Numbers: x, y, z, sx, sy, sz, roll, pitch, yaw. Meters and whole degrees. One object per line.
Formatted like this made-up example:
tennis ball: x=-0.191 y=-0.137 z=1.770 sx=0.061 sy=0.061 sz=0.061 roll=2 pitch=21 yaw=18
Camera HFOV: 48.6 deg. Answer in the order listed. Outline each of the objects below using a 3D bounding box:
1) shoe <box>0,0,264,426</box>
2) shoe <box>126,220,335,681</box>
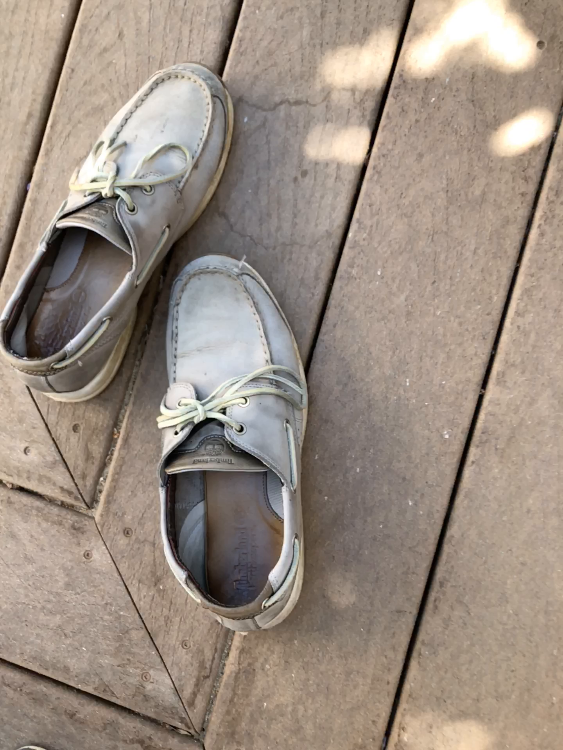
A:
shoe: x=-0.136 y=-0.127 z=0.508 sx=0.116 sy=0.099 sz=0.314 roll=23 pitch=89 yaw=8
shoe: x=-0.034 y=0.054 z=0.487 sx=0.120 sy=0.109 sz=0.310 roll=-5 pitch=85 yaw=6
